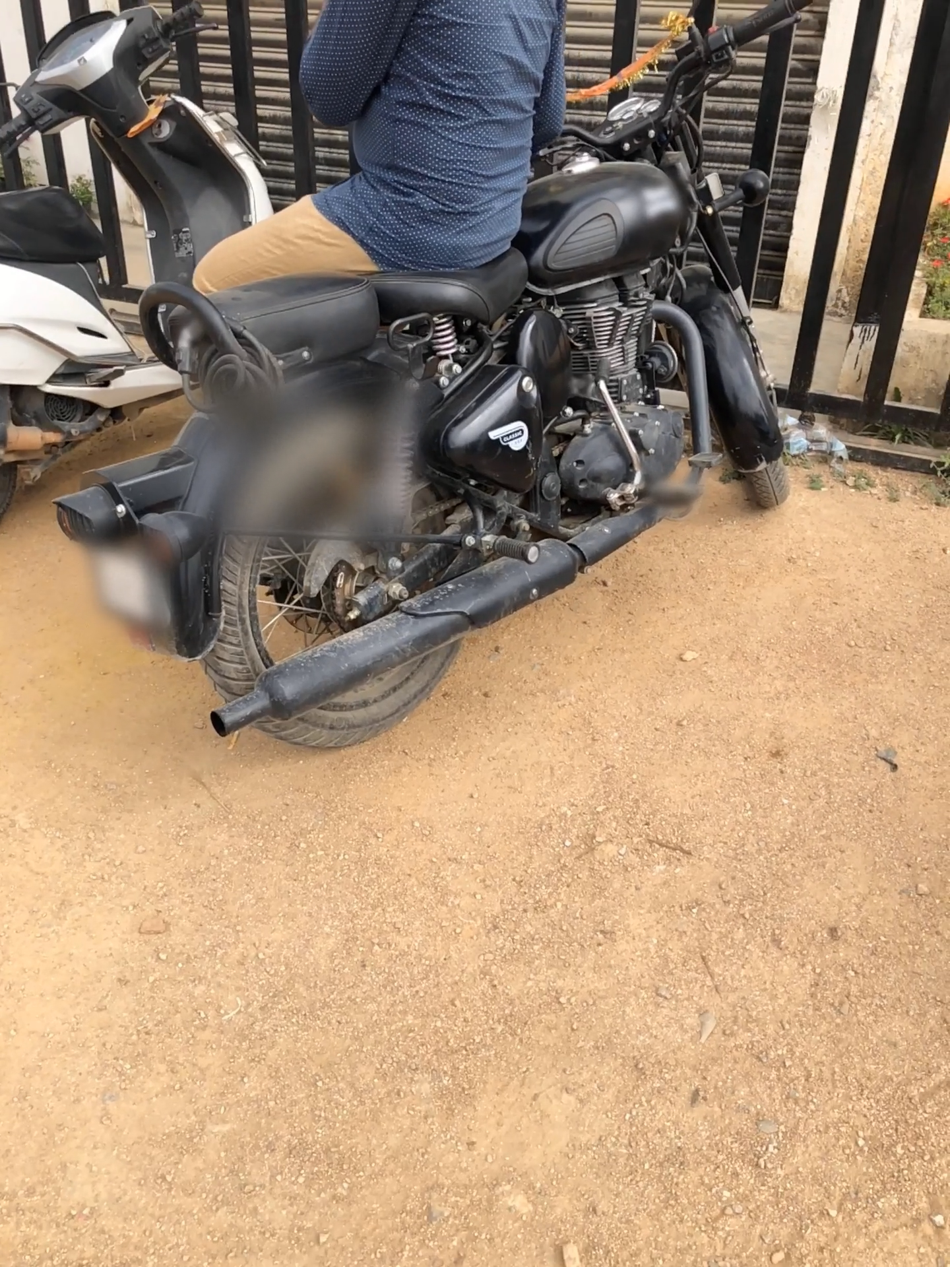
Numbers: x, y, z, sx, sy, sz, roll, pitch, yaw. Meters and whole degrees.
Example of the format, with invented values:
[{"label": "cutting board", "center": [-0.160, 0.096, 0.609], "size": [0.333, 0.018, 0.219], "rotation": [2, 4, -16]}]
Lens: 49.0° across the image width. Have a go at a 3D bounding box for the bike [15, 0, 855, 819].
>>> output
[{"label": "bike", "center": [0.061, -0.833, 2.203], "size": [0.723, 1.169, 1.816], "rotation": [20, 41, 28]}]
